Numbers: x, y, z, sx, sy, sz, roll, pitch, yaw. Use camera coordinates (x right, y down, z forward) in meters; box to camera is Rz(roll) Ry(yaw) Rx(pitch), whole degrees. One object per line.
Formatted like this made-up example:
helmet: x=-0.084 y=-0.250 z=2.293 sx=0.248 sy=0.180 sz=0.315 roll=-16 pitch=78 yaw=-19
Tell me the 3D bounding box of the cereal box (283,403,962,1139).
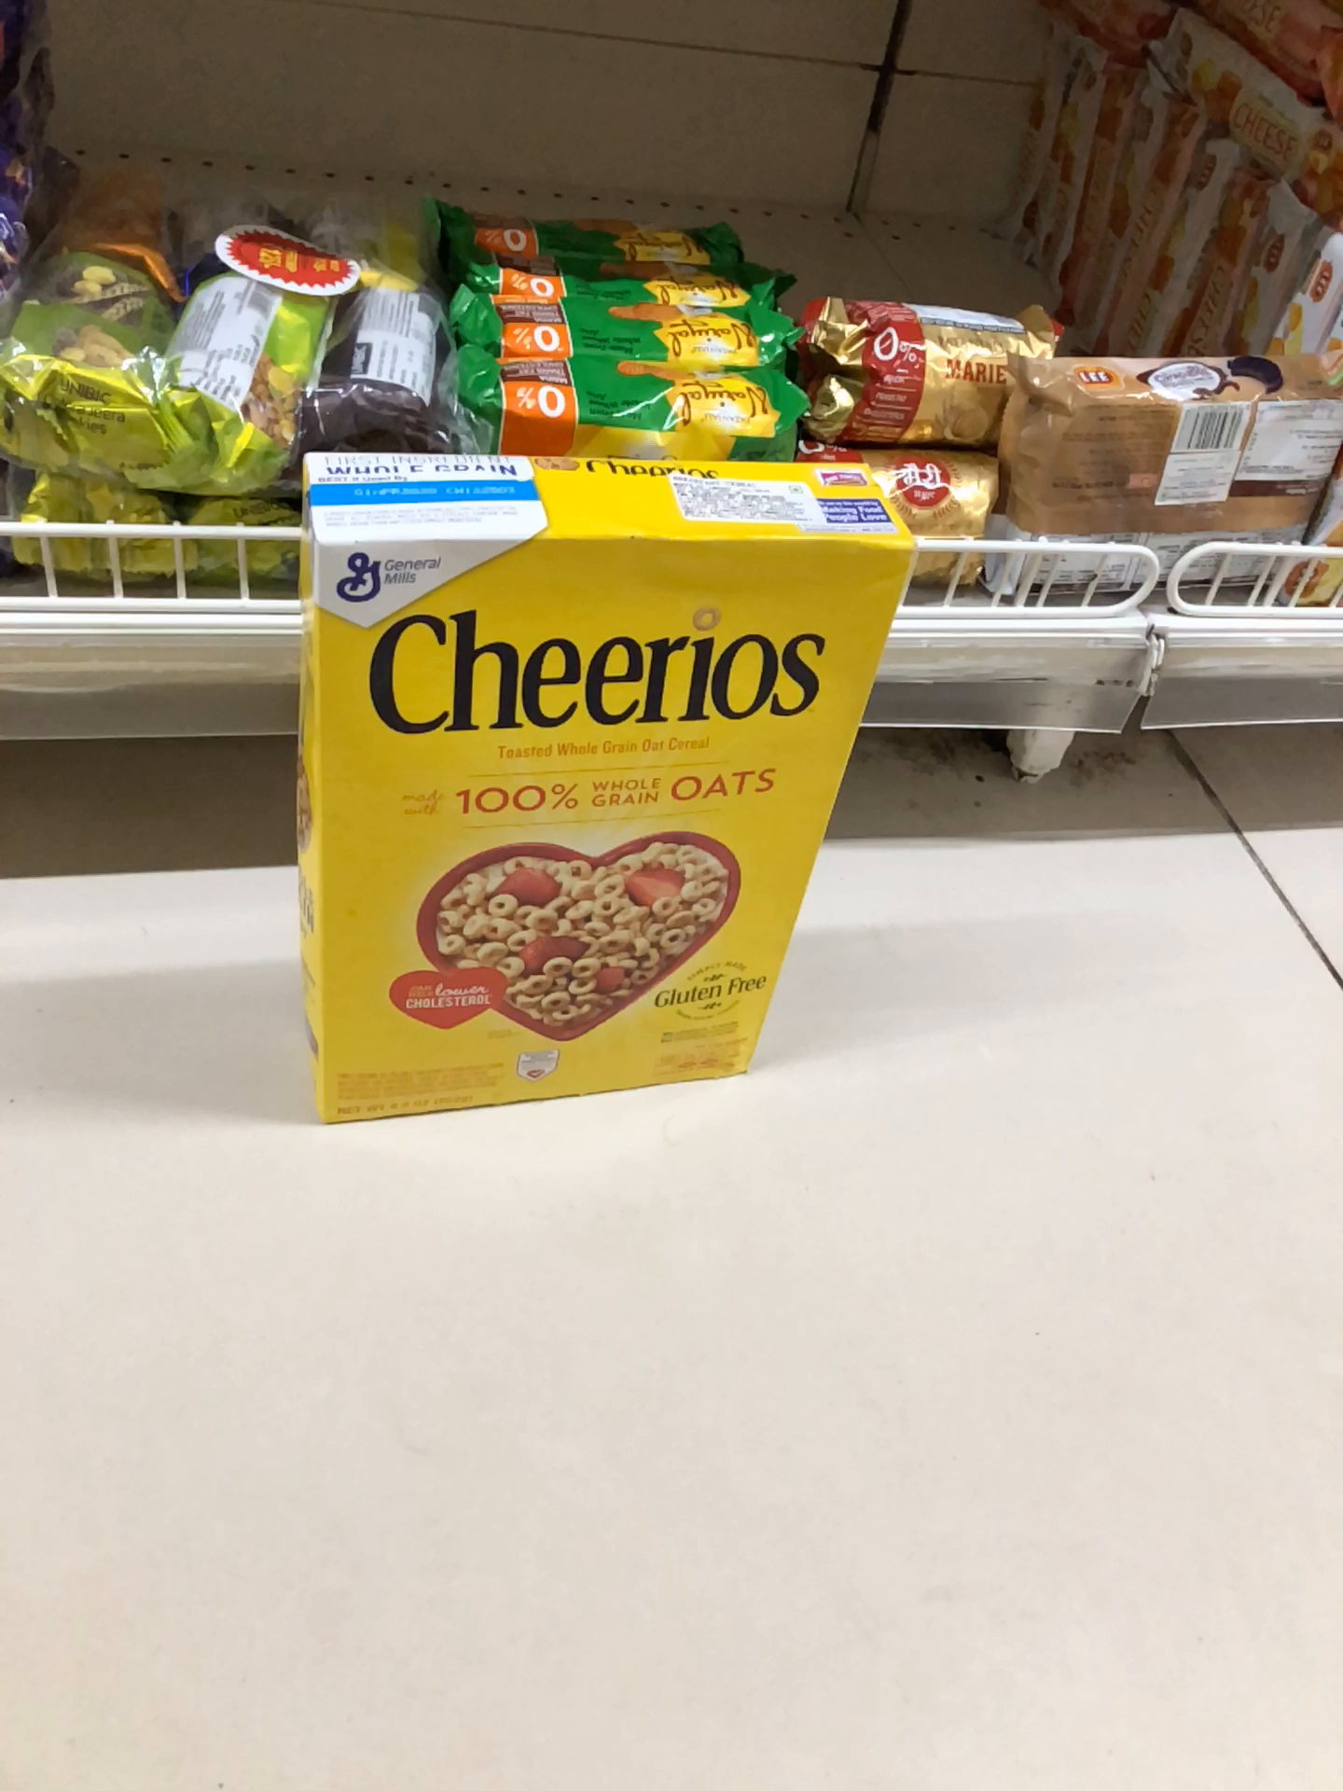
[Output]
cereal box: x=-0.036 y=-0.031 z=0.549 sx=0.200 sy=0.288 sz=0.060 roll=-4 pitch=46 yaw=-17
